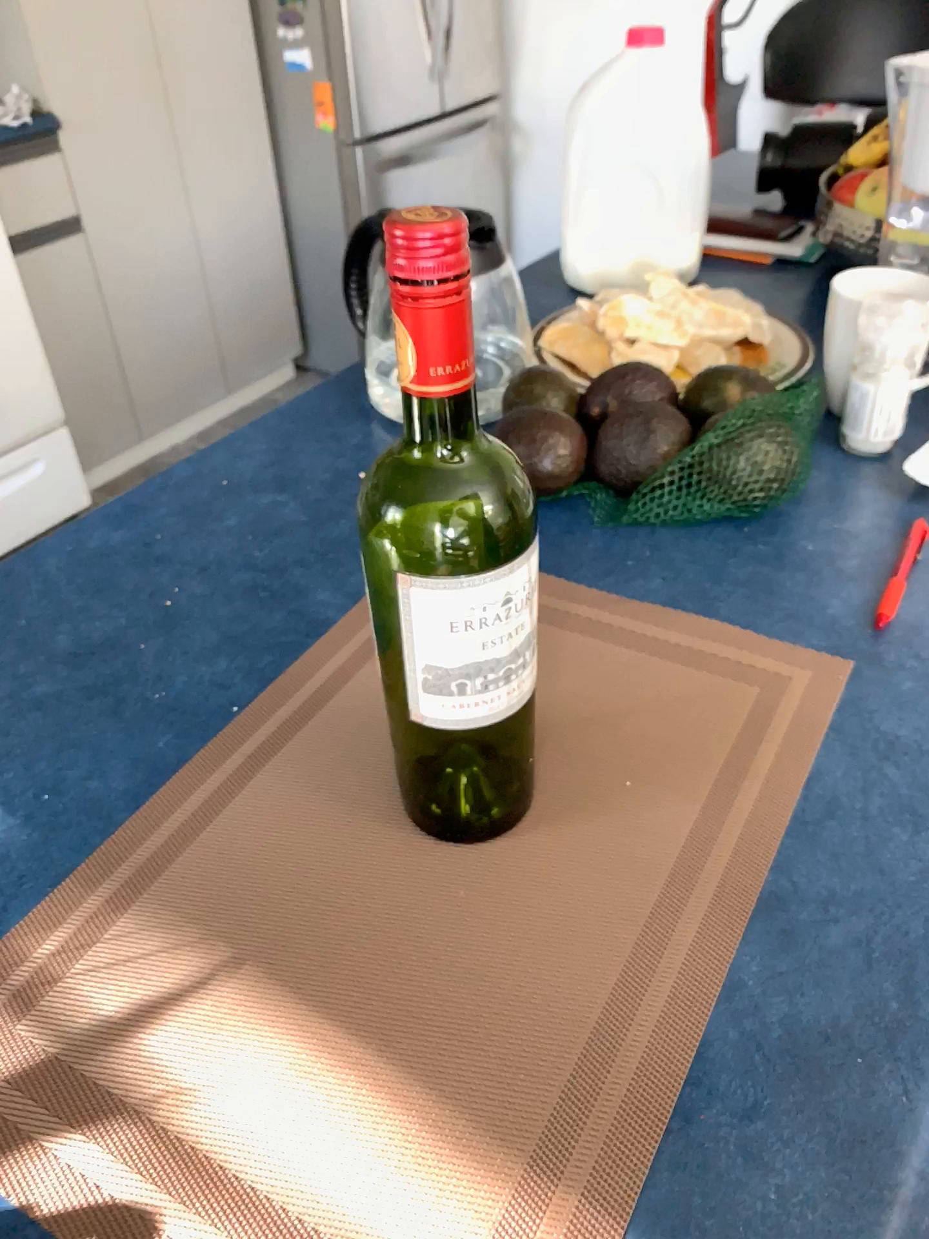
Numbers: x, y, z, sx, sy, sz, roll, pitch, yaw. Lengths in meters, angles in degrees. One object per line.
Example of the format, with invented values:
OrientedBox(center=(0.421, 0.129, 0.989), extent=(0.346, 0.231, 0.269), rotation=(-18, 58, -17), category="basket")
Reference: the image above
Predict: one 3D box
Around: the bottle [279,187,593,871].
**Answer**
OrientedBox(center=(-0.005, -0.025, 0.415), extent=(0.080, 0.277, 0.081), rotation=(-2, 37, 2), category="bottle")
